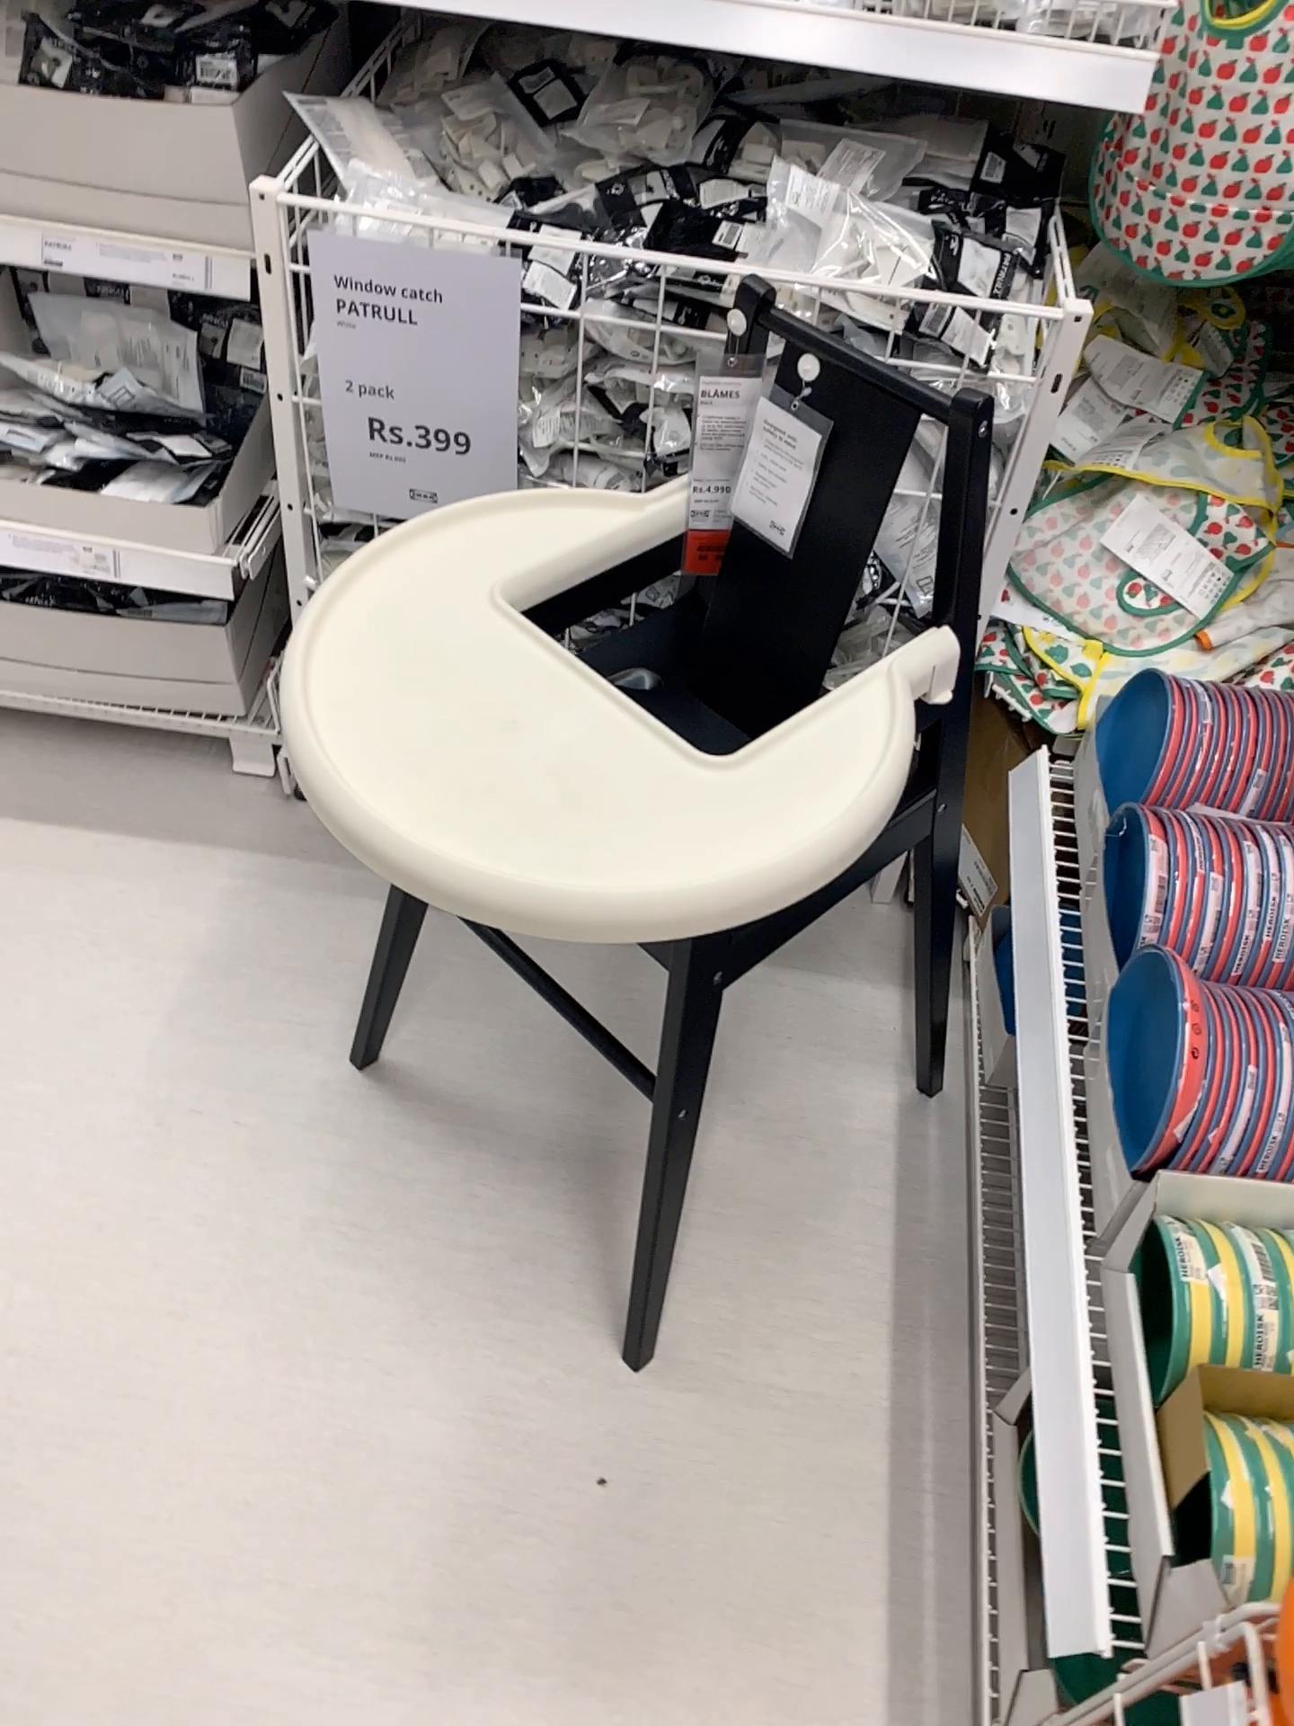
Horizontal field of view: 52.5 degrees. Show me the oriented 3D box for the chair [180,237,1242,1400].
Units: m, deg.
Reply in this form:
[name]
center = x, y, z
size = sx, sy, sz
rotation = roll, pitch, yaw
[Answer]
[chair]
center = 0.021, -0.027, 1.227
size = 0.551, 0.777, 0.531
rotation = -33, 59, -30
